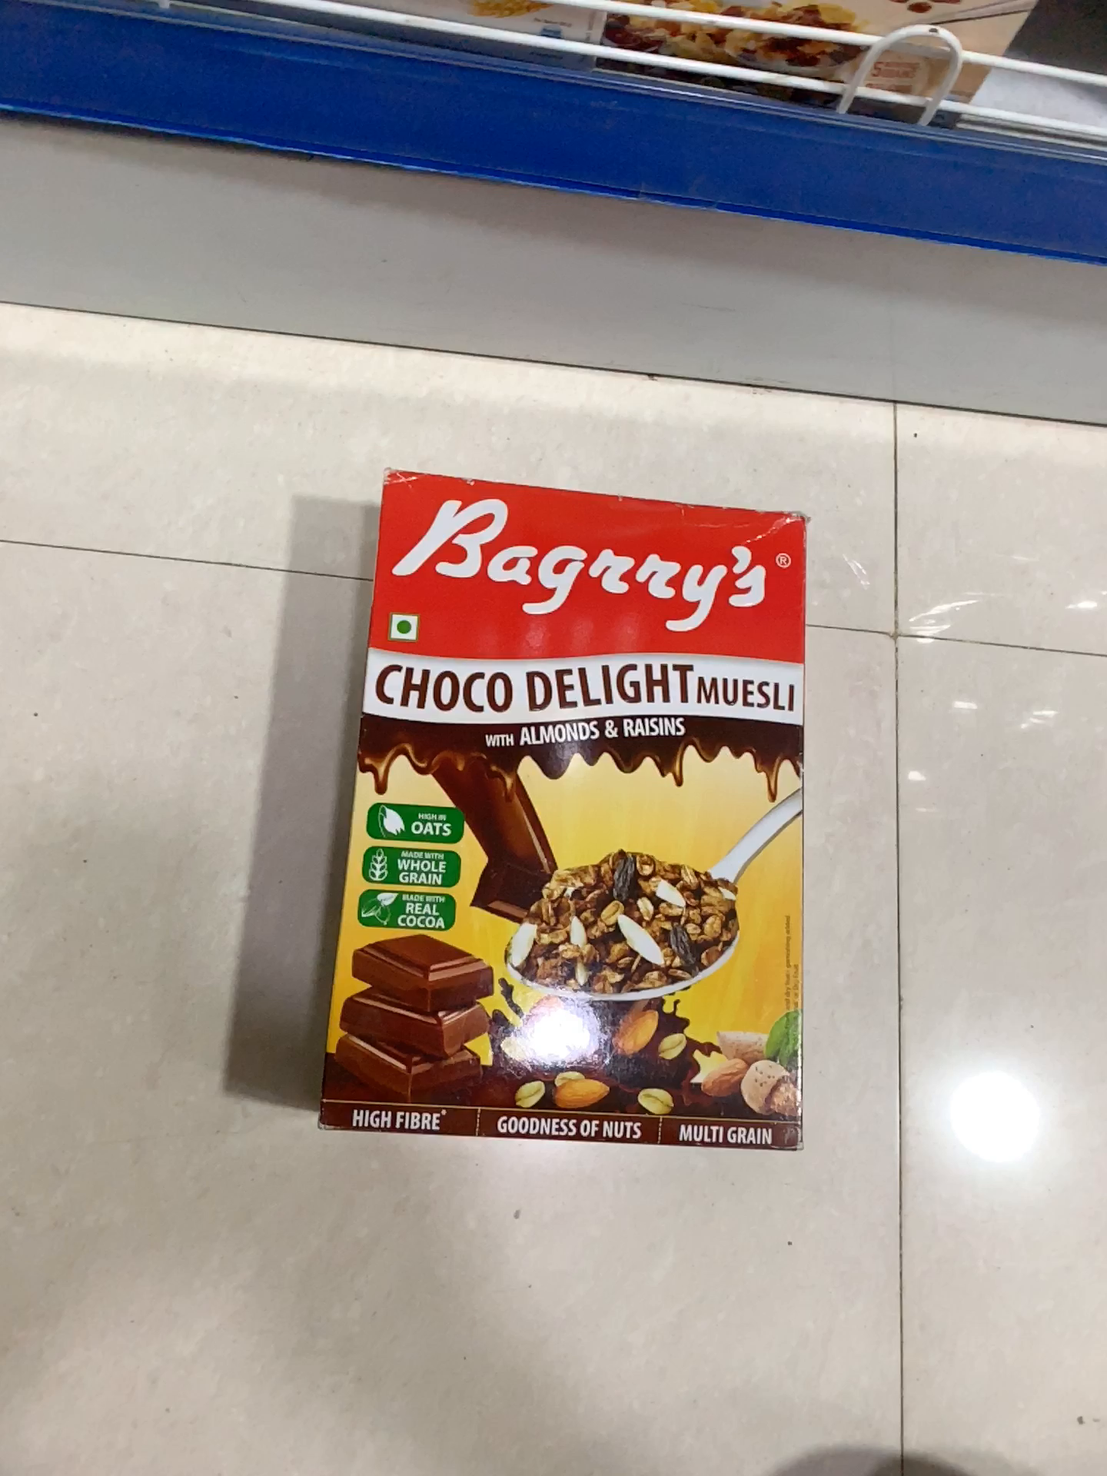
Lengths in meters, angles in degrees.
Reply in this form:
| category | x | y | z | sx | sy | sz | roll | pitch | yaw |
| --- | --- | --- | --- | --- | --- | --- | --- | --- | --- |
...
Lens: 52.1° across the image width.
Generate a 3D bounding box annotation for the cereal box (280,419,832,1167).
| category | x | y | z | sx | sy | sz | roll | pitch | yaw |
| --- | --- | --- | --- | --- | --- | --- | --- | --- | --- |
| cereal box | 0.007 | 0.023 | 0.479 | 0.200 | 0.080 | 0.280 | 5 | 76 | -6 |
